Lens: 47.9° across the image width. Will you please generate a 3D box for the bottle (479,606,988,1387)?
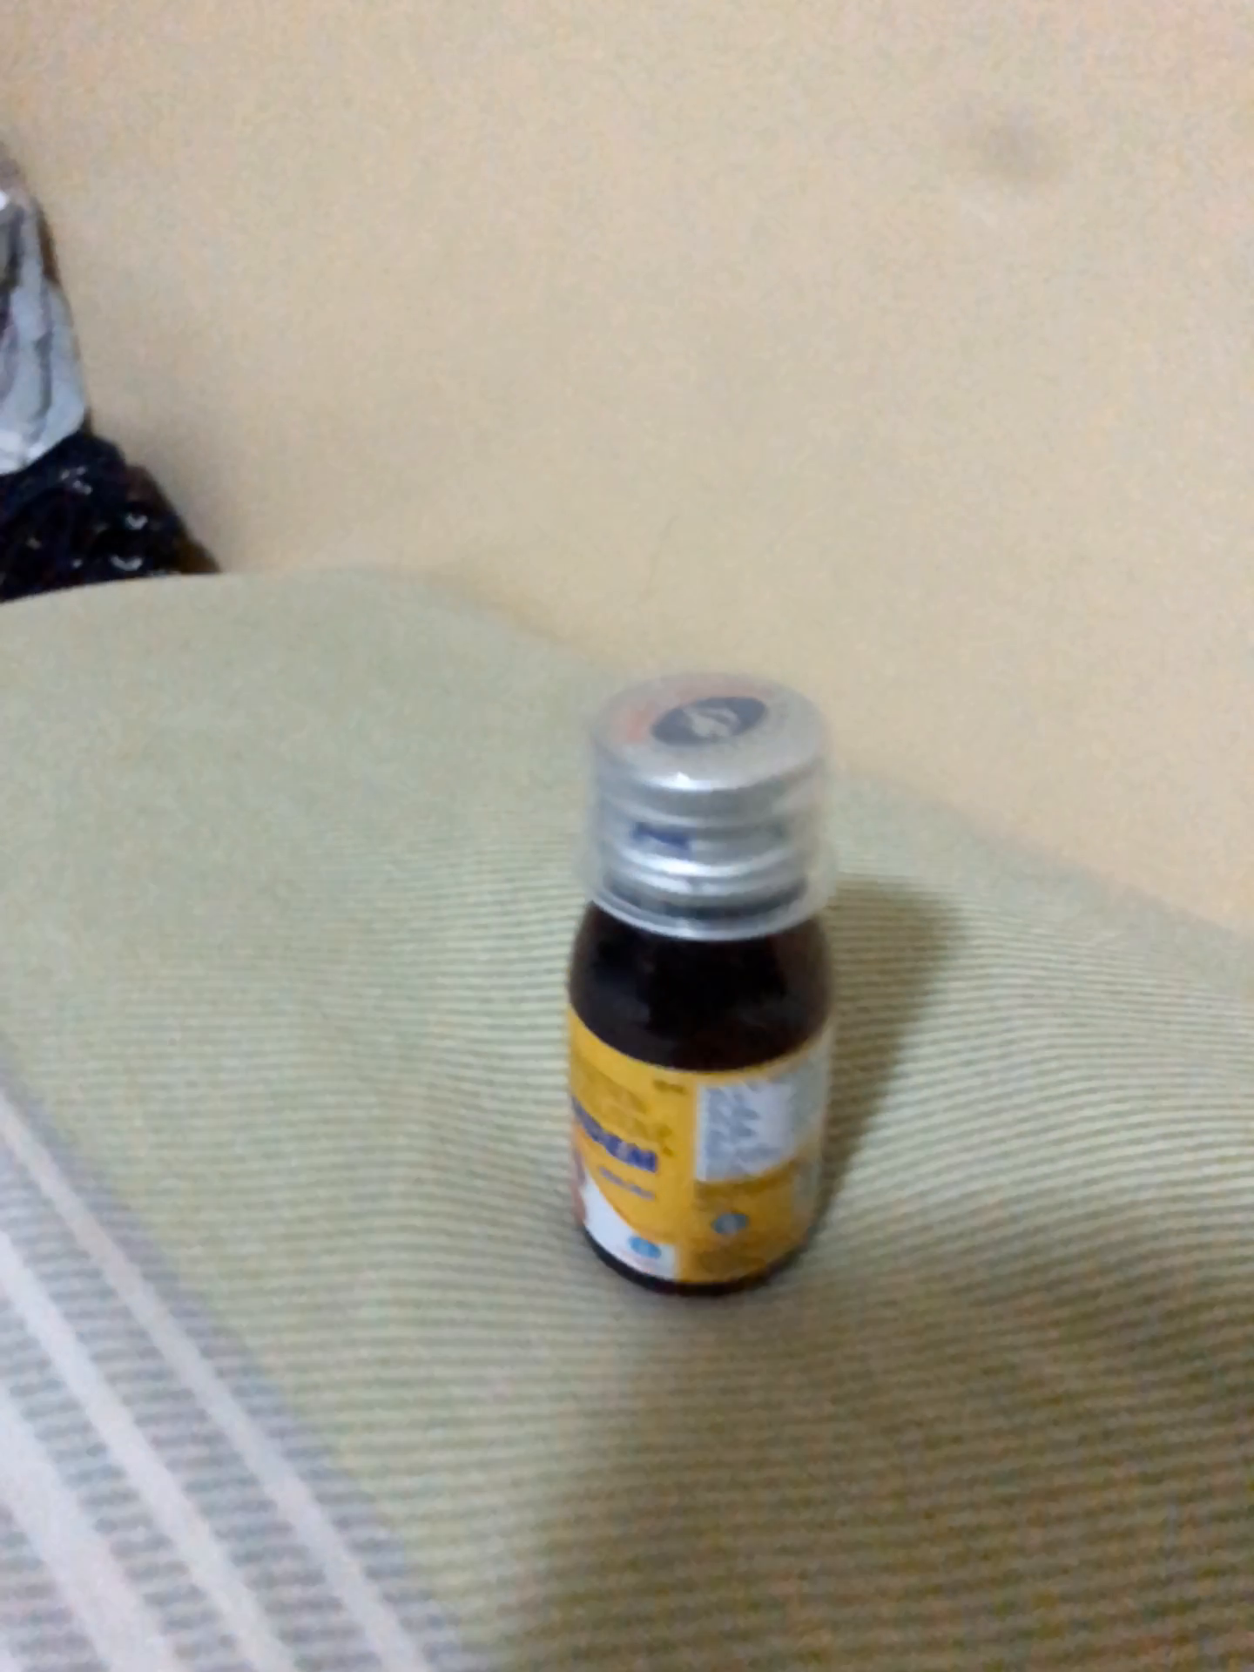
[{"bbox_3d":[0.010,0.020,0.175,0.040,0.080,0.040,0,33,0],"label":"bottle"}]
